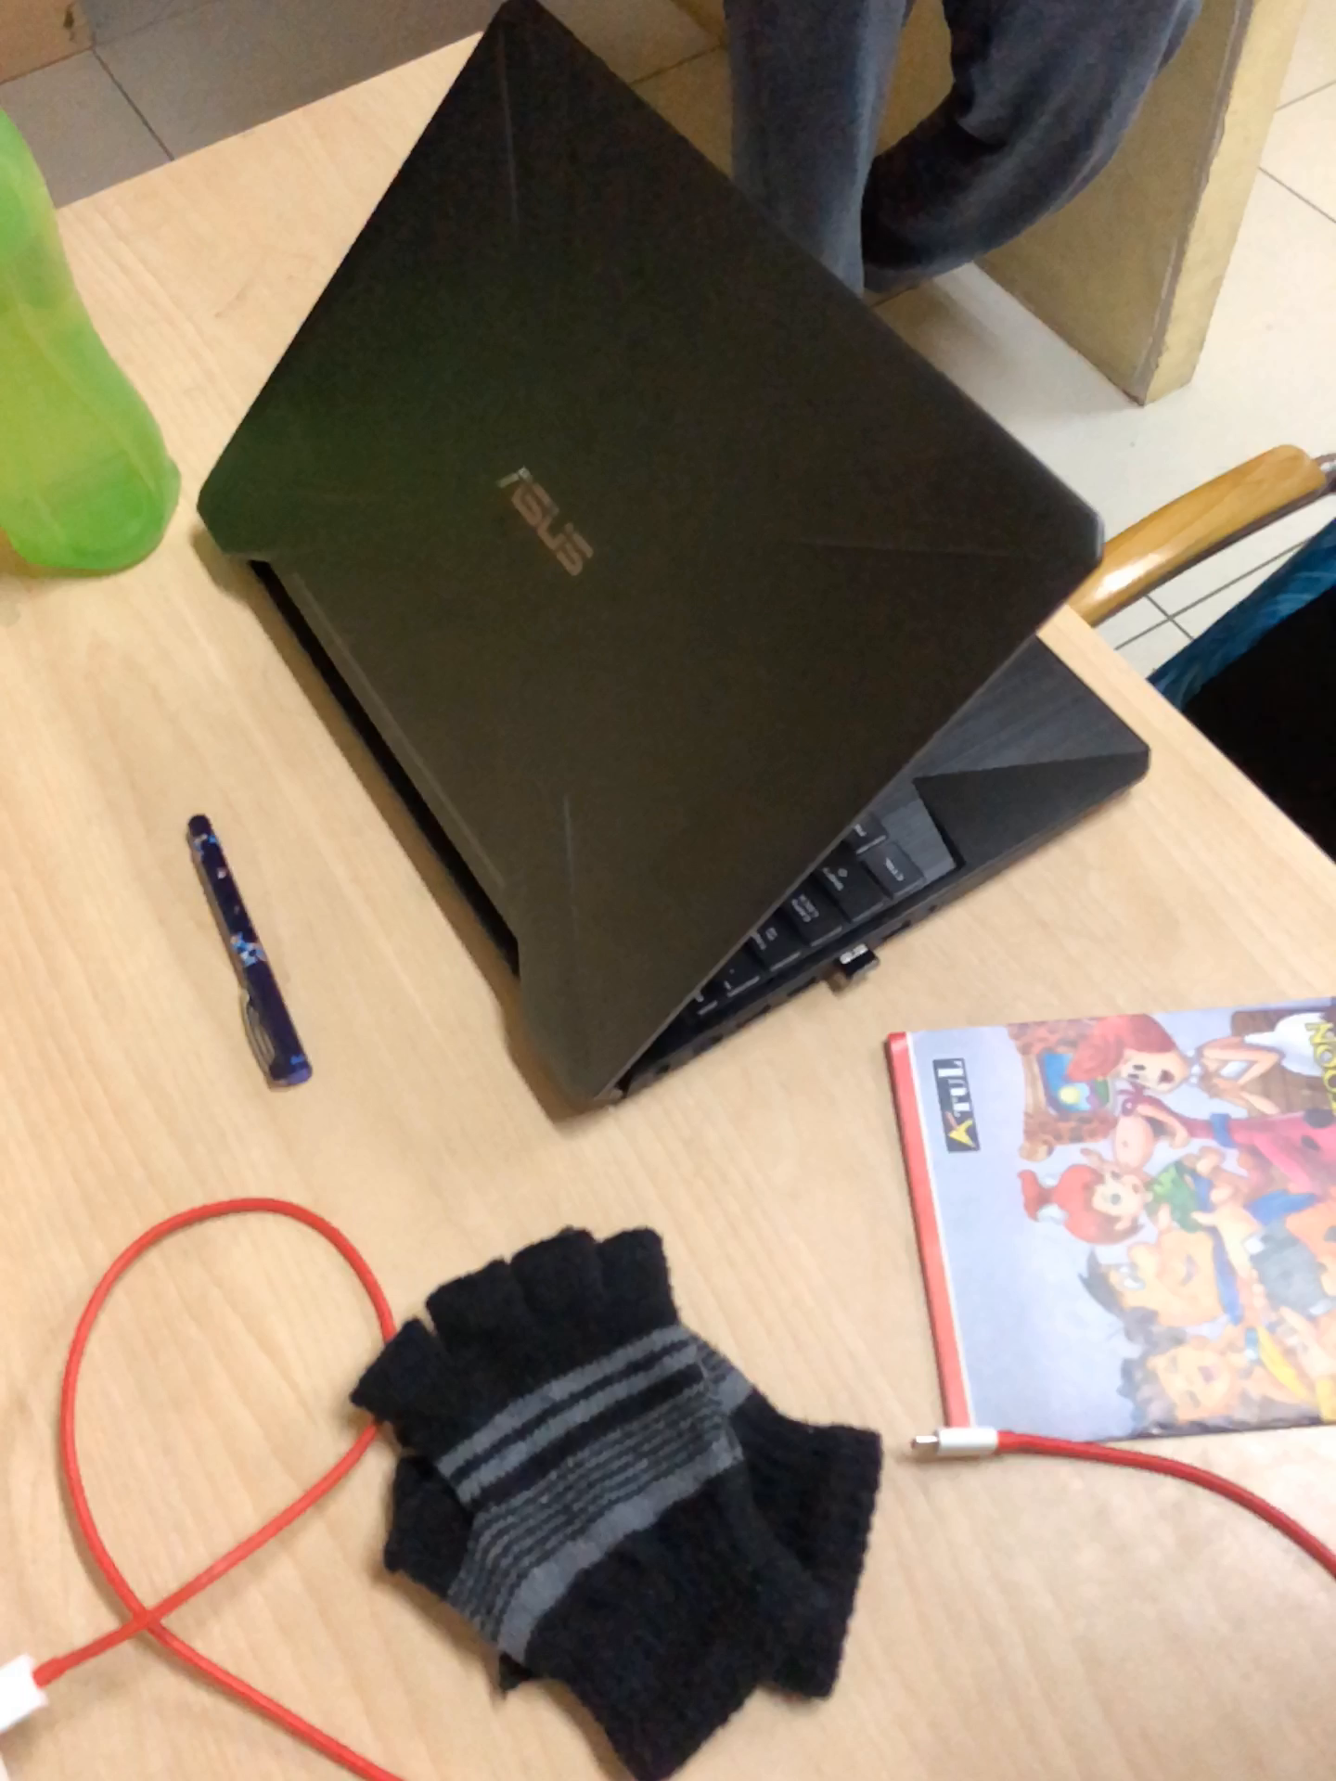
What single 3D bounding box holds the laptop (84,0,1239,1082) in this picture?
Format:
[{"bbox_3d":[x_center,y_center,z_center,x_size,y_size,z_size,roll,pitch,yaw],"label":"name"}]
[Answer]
[{"bbox_3d":[-0.013,-0.151,0.554,0.248,0.147,0.339,-30,63,-15],"label":"laptop"}]
